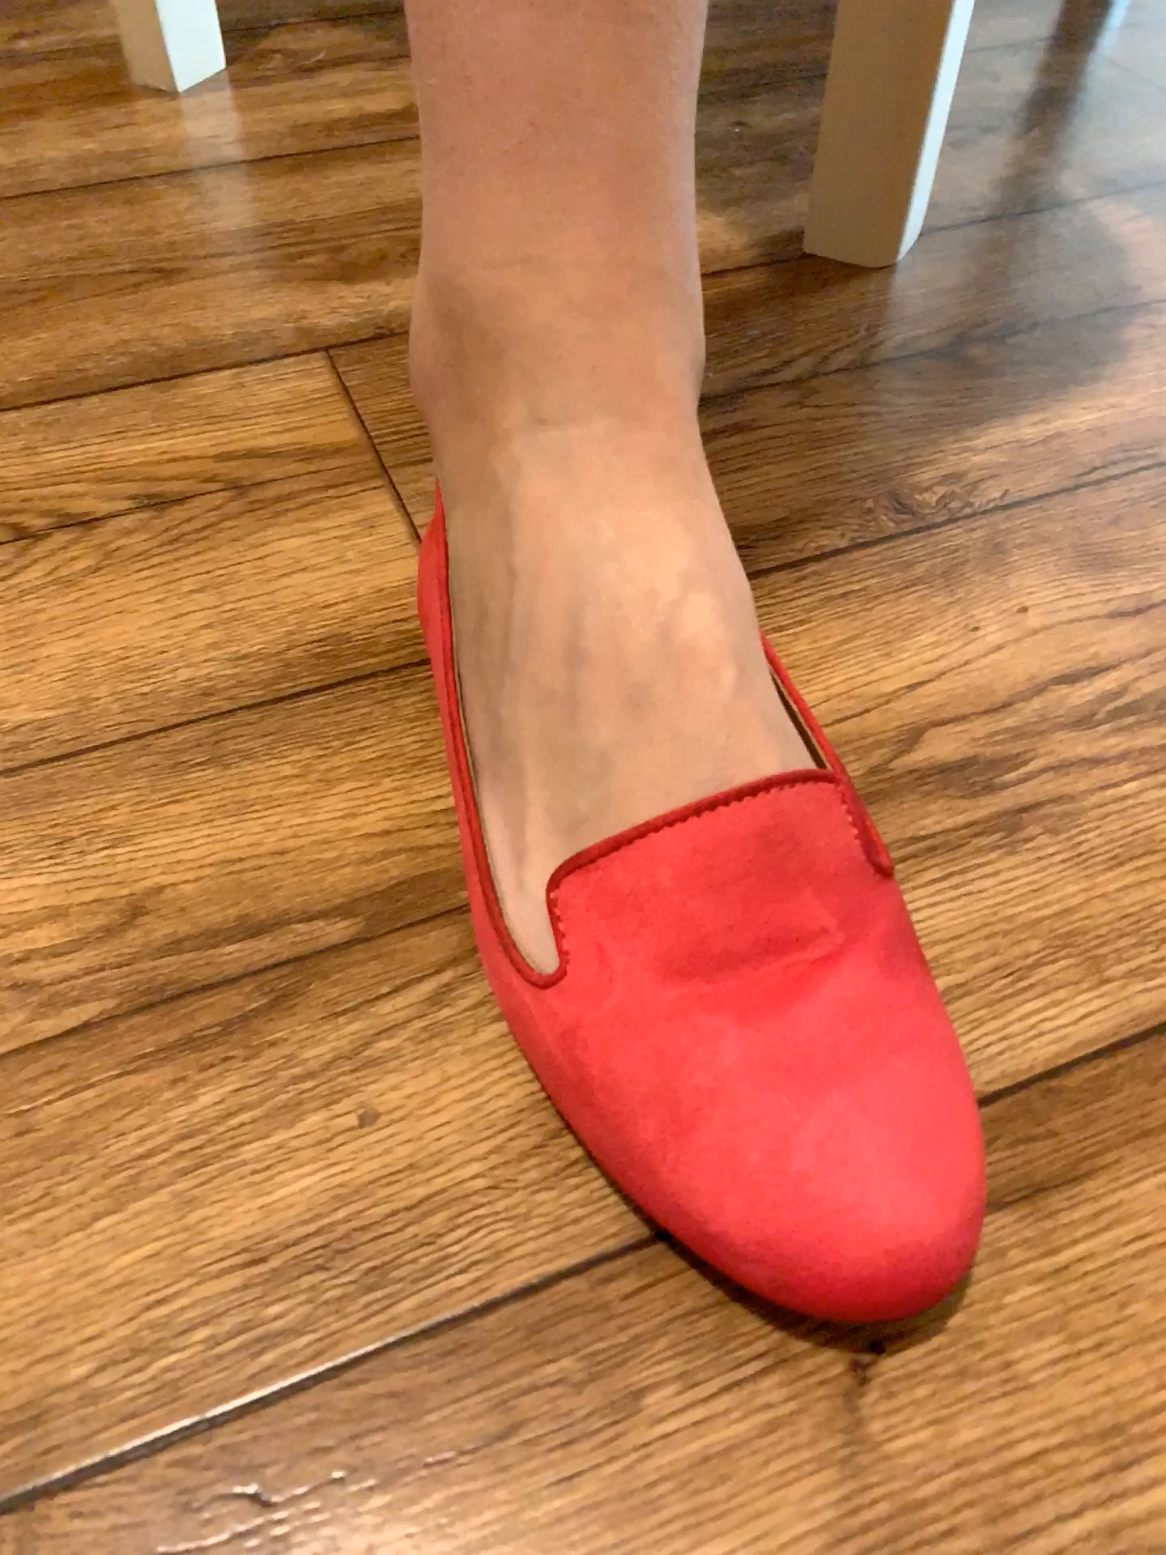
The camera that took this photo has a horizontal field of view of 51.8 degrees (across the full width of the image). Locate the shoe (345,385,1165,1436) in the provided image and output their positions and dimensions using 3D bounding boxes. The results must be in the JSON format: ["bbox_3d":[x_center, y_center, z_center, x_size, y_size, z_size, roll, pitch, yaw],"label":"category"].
[{"bbox_3d":[0.014,0.005,0.263,0.086,0.060,0.221,-13,51,-11],"label":"shoe"}]
